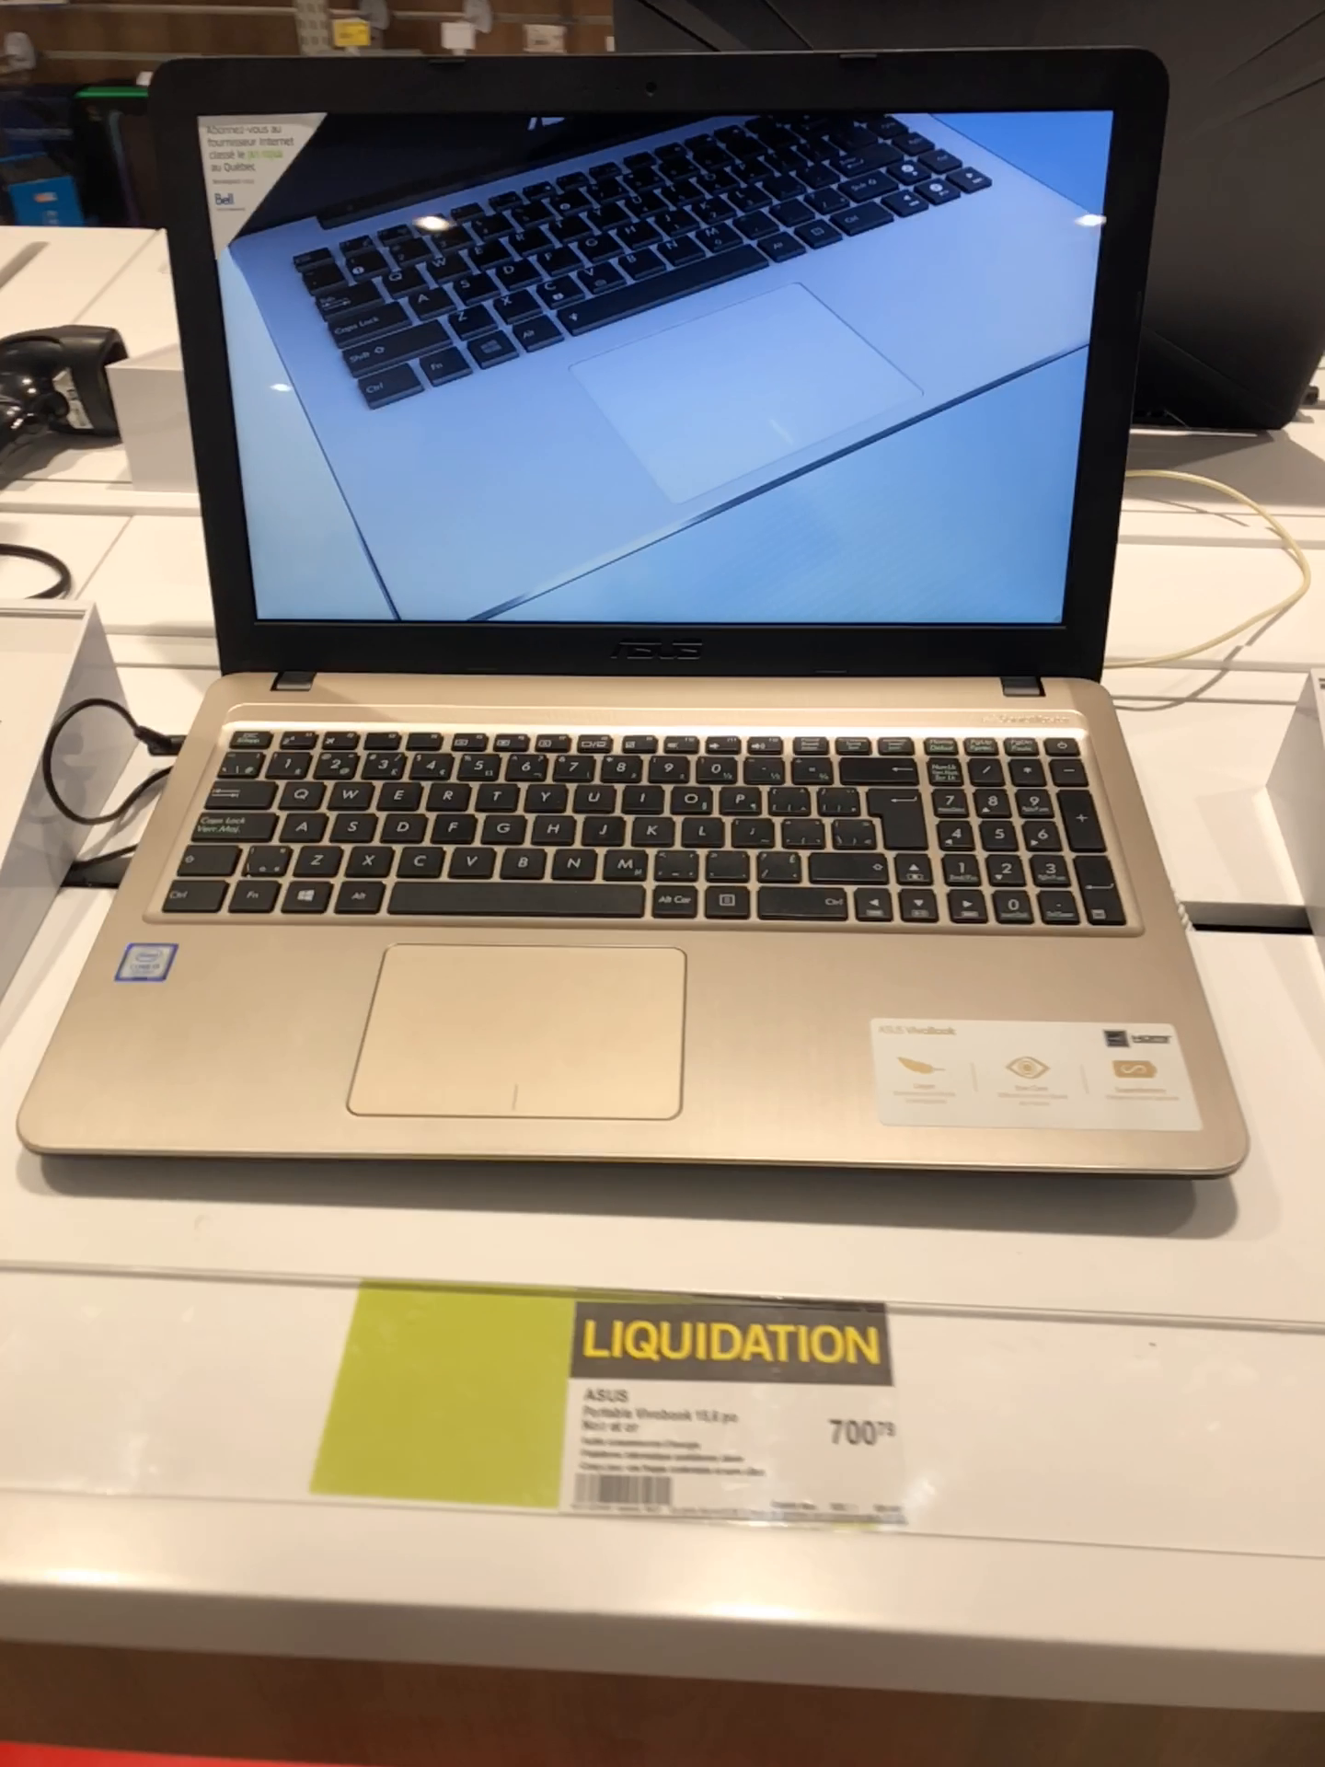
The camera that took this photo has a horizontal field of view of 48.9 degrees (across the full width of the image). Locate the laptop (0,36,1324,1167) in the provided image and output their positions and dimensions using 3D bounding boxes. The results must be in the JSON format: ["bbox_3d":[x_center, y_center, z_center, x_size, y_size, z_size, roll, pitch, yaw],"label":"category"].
[{"bbox_3d":[-0.006,-0.118,0.500,0.370,0.204,0.339,1,45,1],"label":"laptop"}]
